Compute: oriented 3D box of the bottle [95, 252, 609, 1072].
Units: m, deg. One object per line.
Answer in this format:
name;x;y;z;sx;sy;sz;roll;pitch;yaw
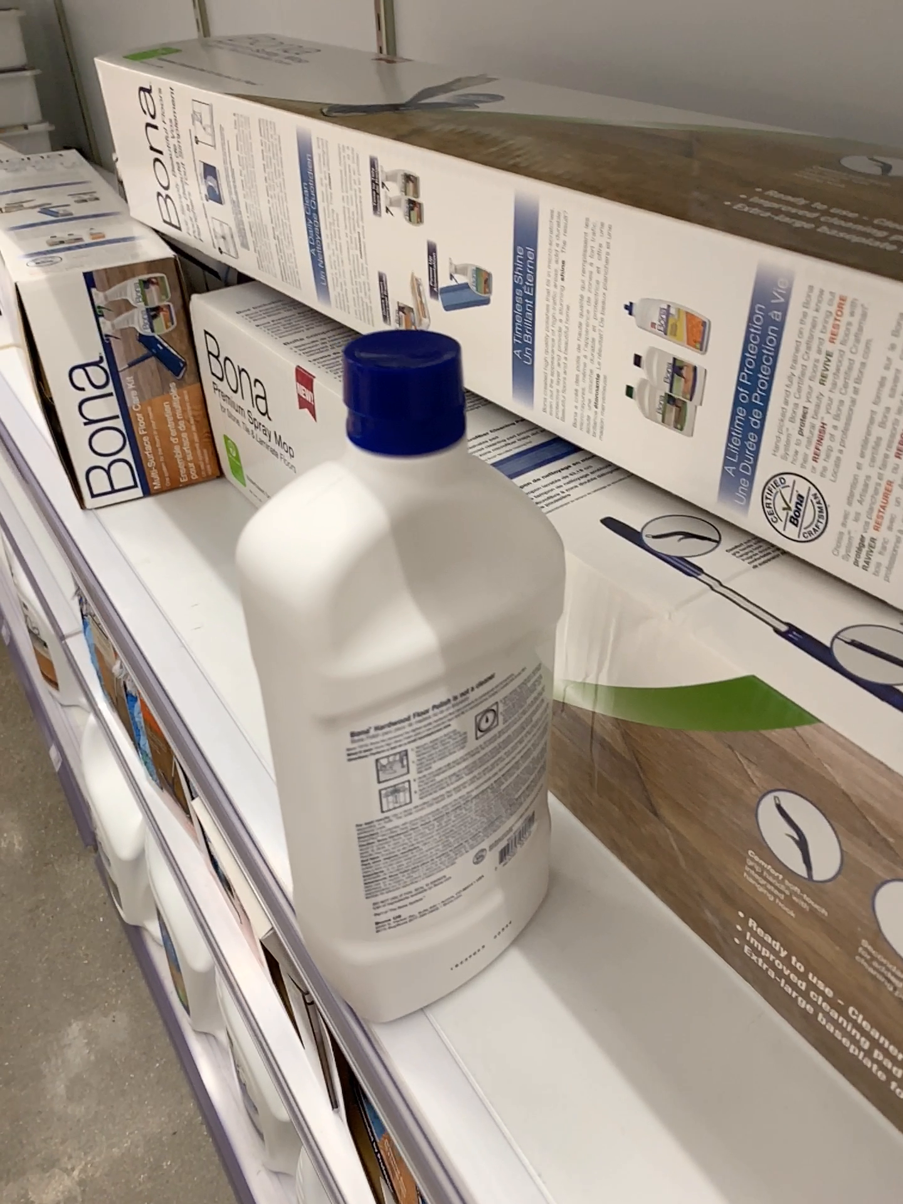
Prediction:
bottle;-0.020;0.030;0.324;0.120;0.259;0.070;-29;44;-33
